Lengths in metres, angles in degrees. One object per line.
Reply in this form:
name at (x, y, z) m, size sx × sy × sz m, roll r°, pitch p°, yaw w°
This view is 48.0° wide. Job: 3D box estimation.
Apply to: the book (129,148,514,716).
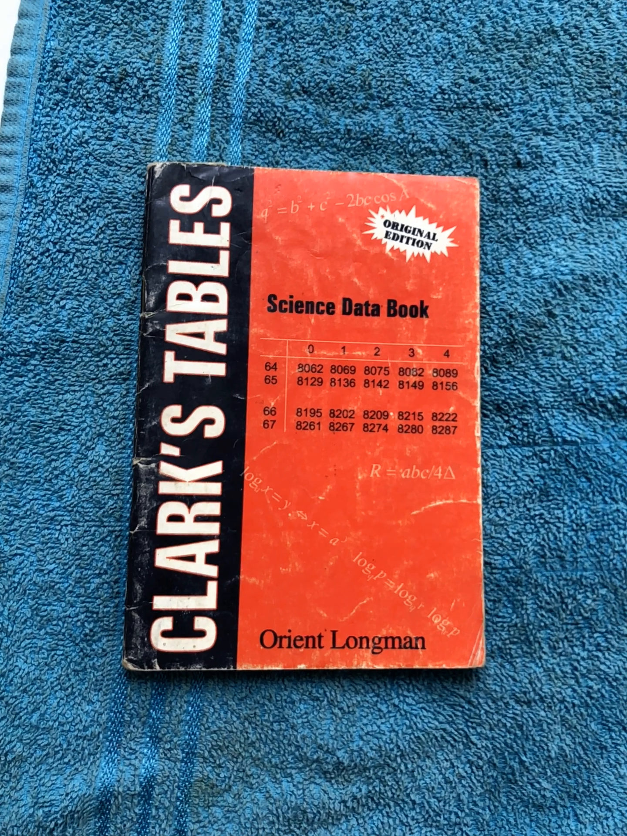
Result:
book at (0.003, 0.003, 0.243) m, size 0.120 × 0.030 × 0.180 m, roll 1°, pitch 83°, yaw -6°
